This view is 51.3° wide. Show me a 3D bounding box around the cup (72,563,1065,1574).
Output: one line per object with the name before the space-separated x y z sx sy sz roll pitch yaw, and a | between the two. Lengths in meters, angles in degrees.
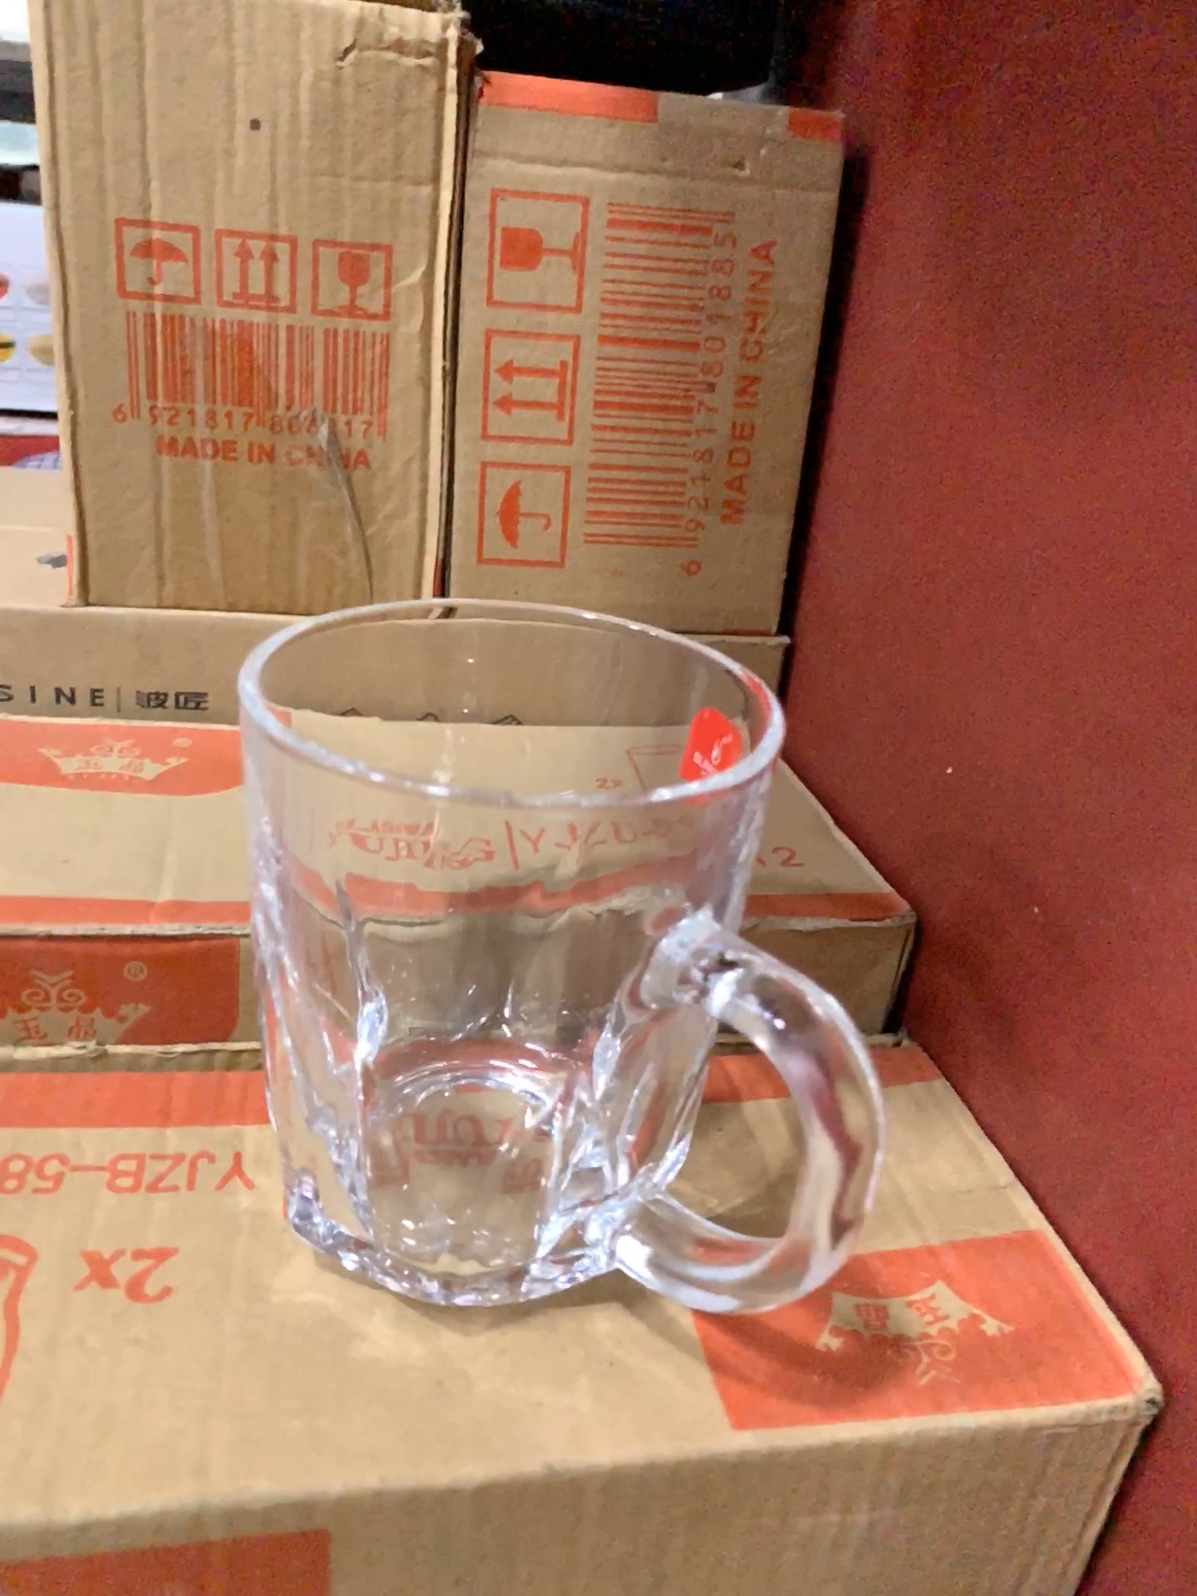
cup | -0.009 0.019 0.164 0.100 0.072 0.069 24 29 36
